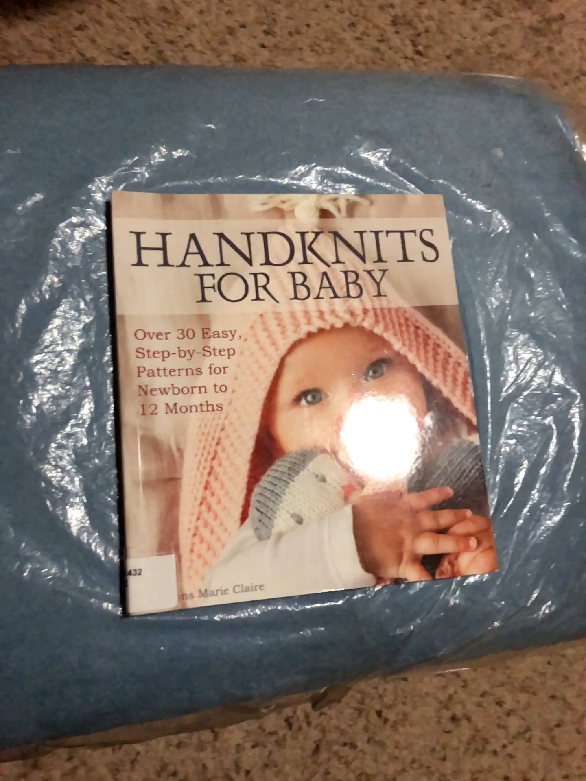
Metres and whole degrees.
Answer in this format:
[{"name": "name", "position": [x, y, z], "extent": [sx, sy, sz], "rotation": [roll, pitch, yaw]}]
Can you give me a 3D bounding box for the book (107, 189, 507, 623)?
[{"name": "book", "position": [0.006, -0.002, 0.354], "extent": [0.197, 0.020, 0.220], "rotation": [-3, 80, -12]}]
